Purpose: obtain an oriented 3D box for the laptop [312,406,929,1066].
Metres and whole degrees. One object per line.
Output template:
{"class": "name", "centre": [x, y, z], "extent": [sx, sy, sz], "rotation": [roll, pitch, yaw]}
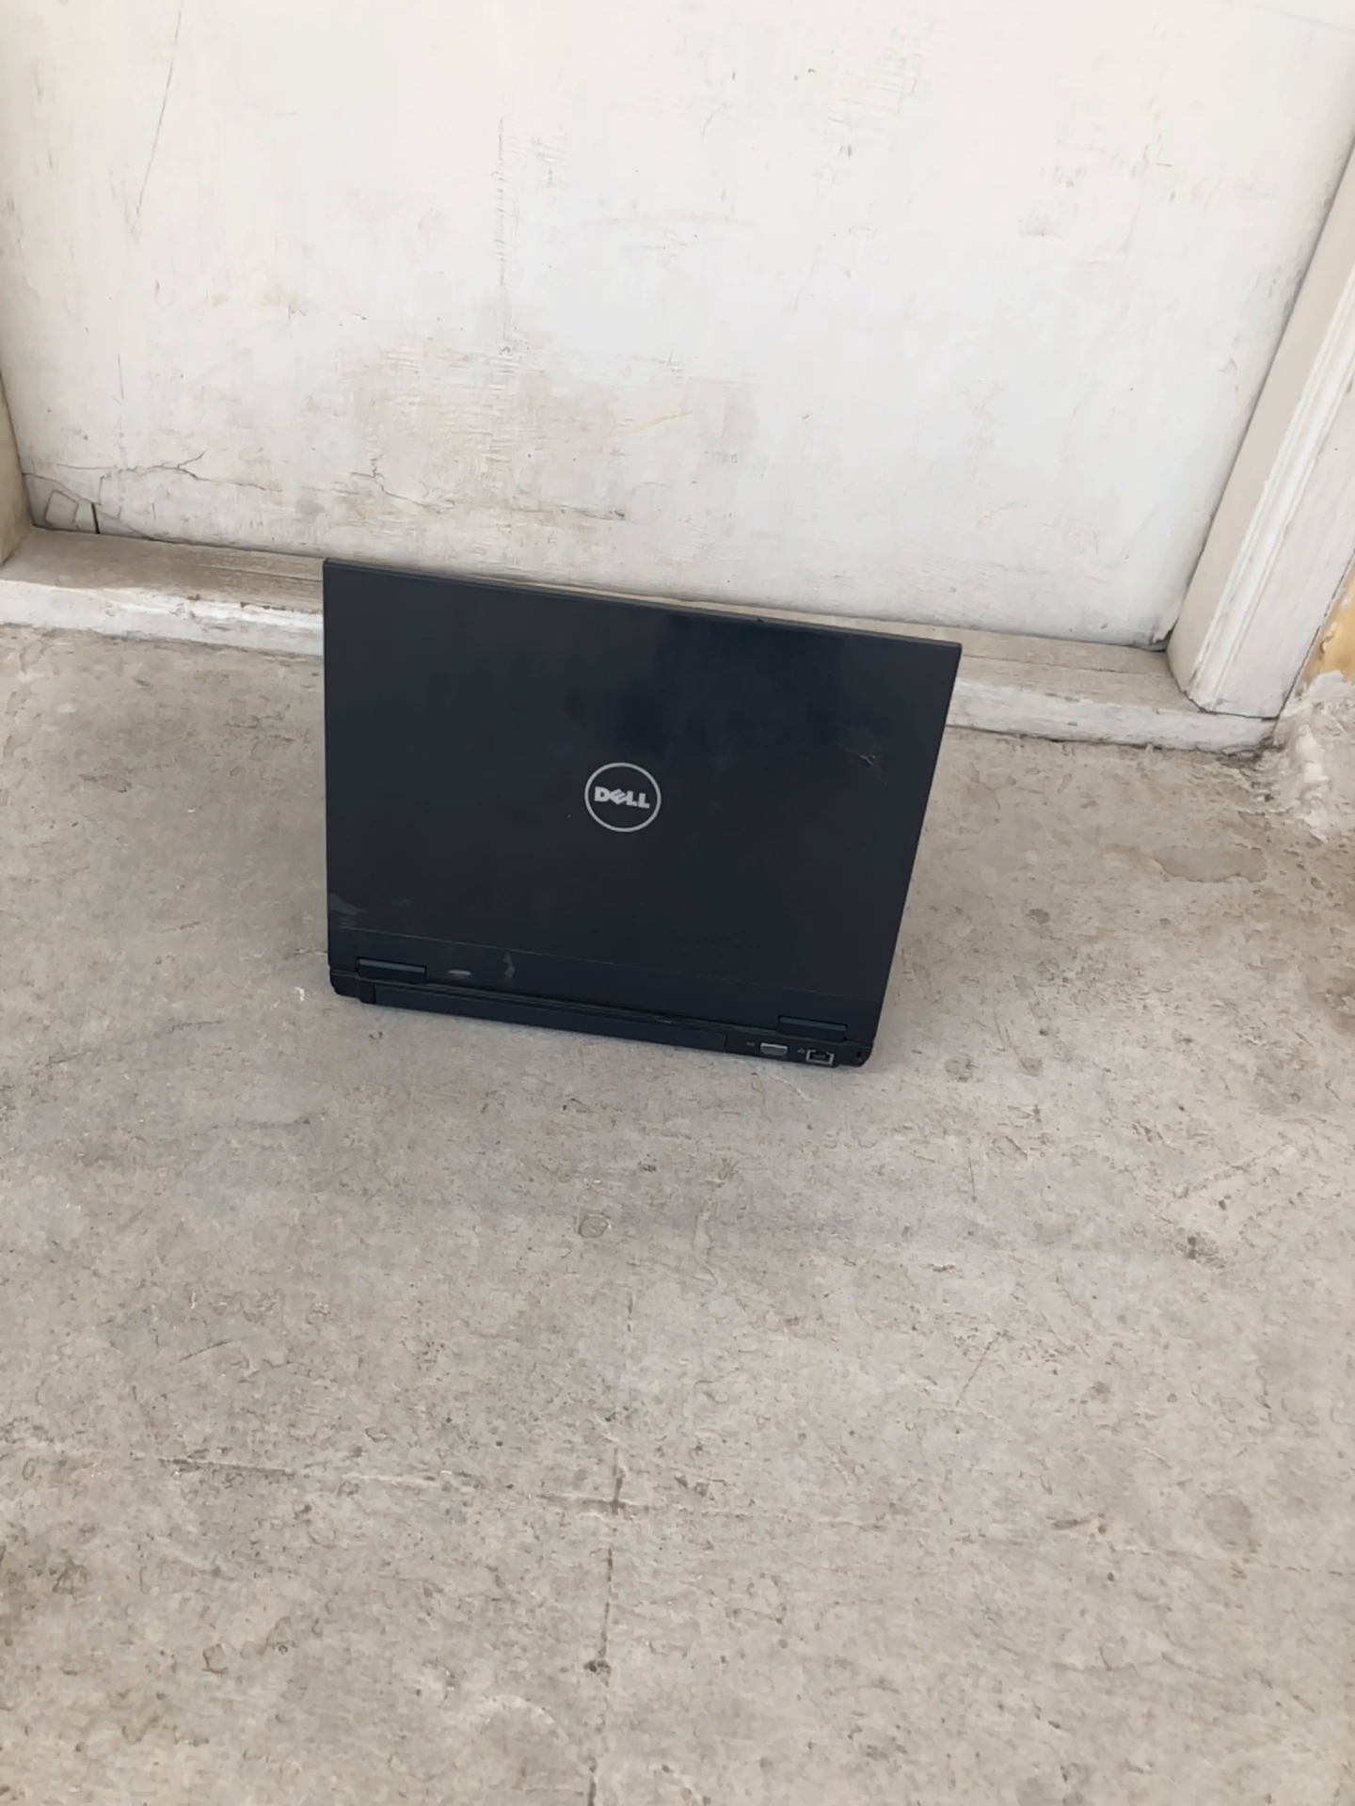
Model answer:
{"class": "laptop", "centre": [-0.025, -0.094, 0.839], "extent": [0.279, 0.251, 0.225], "rotation": [8, 43, 2]}
